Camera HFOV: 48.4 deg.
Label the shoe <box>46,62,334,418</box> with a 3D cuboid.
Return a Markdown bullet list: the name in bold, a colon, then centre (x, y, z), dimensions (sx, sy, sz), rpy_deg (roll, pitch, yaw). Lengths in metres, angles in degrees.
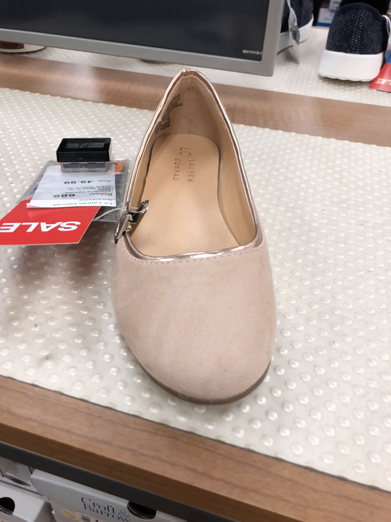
- **shoe**: centre (-0.005, -0.038, 0.235), dimensions (0.085, 0.064, 0.229), rpy_deg (1, 41, -3)
